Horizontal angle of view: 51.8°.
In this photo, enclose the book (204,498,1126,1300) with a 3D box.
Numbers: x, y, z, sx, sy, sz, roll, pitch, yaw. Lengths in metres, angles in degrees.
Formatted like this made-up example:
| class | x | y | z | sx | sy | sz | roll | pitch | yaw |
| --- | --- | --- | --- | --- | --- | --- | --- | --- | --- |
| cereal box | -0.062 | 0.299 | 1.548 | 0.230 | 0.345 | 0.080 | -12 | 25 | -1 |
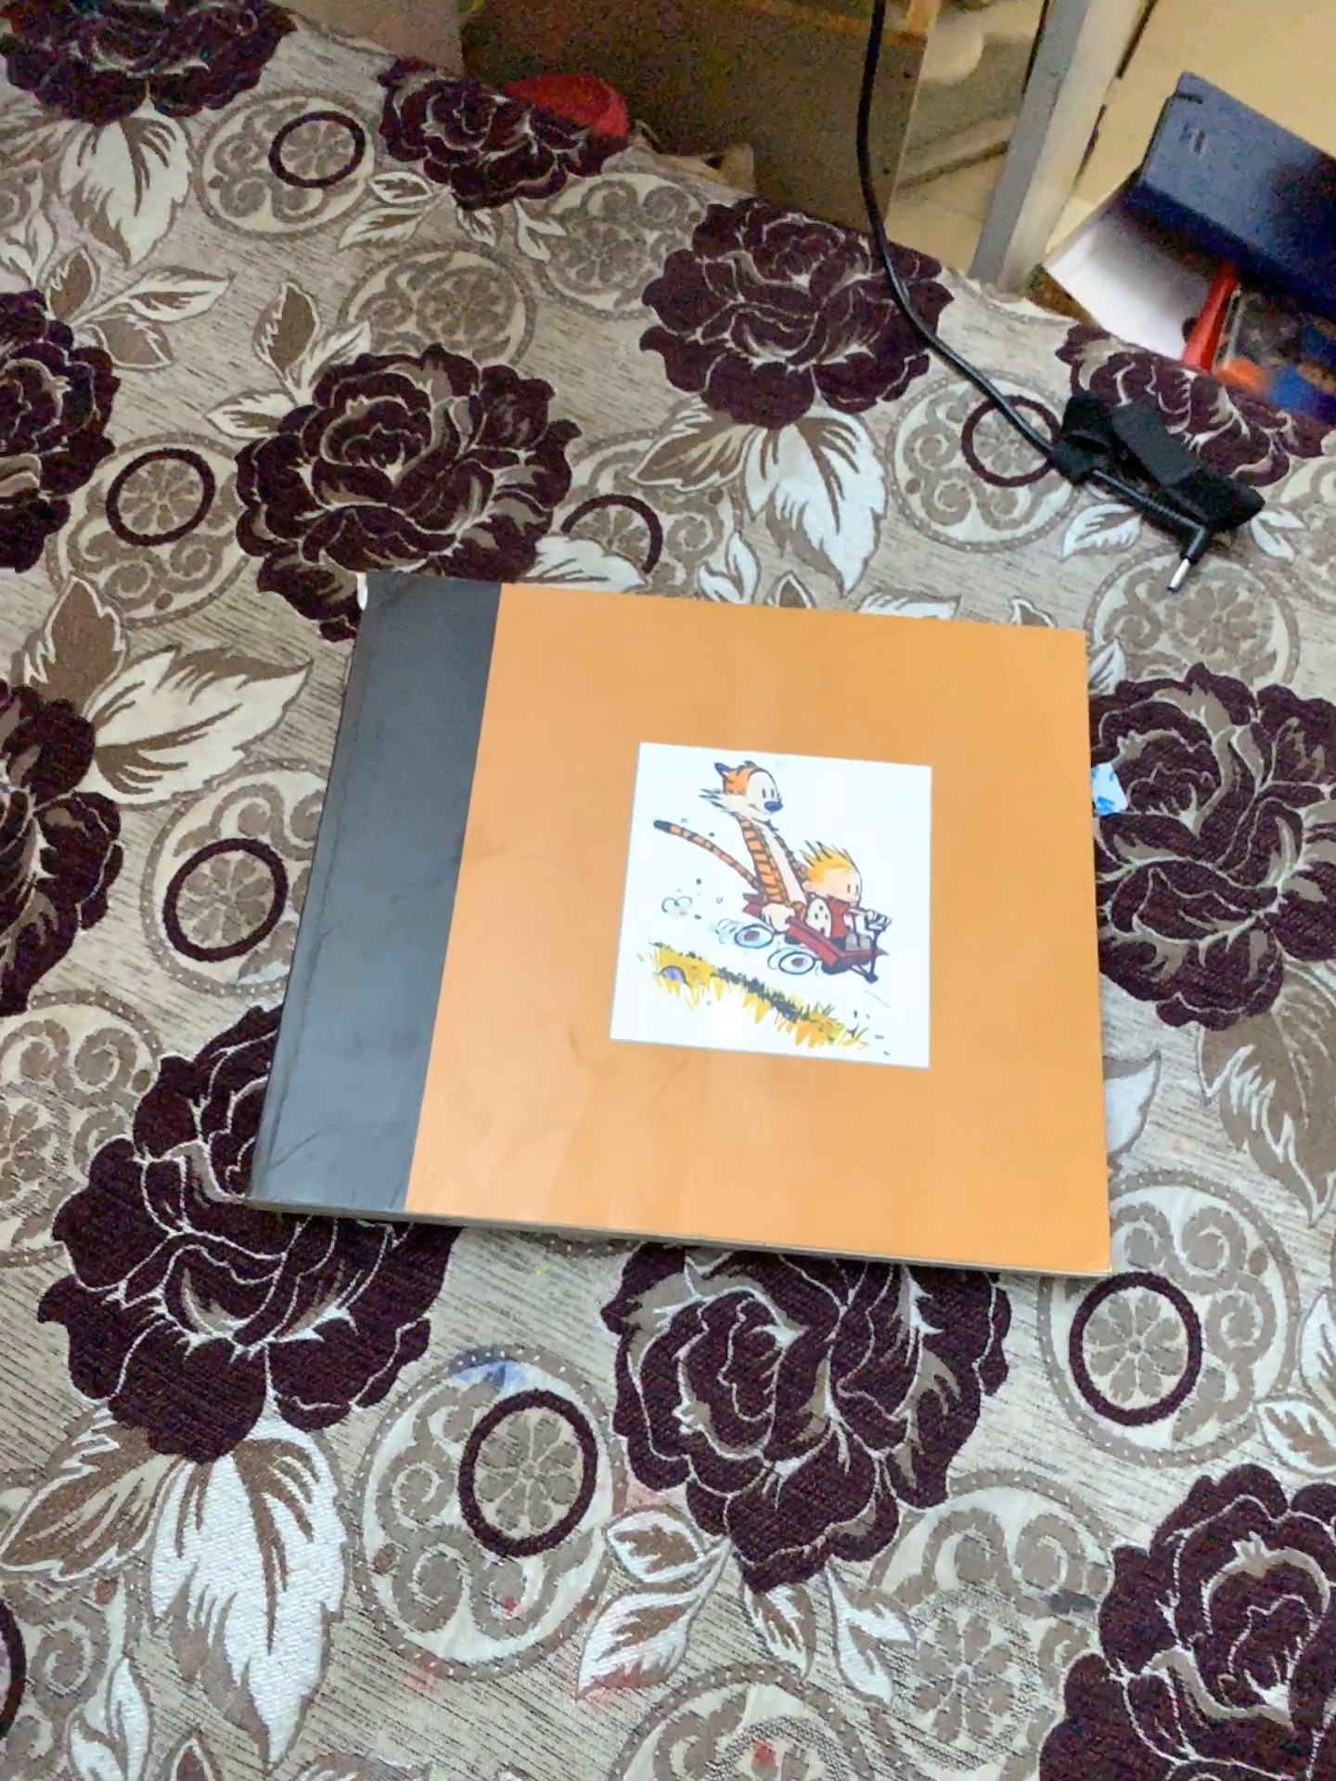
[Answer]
| class | x | y | z | sx | sy | sz | roll | pitch | yaw |
| --- | --- | --- | --- | --- | --- | --- | --- | --- | --- |
| book | 0.008 | -0.007 | 0.473 | 0.270 | 0.040 | 0.261 | 5 | 66 | 0 |
